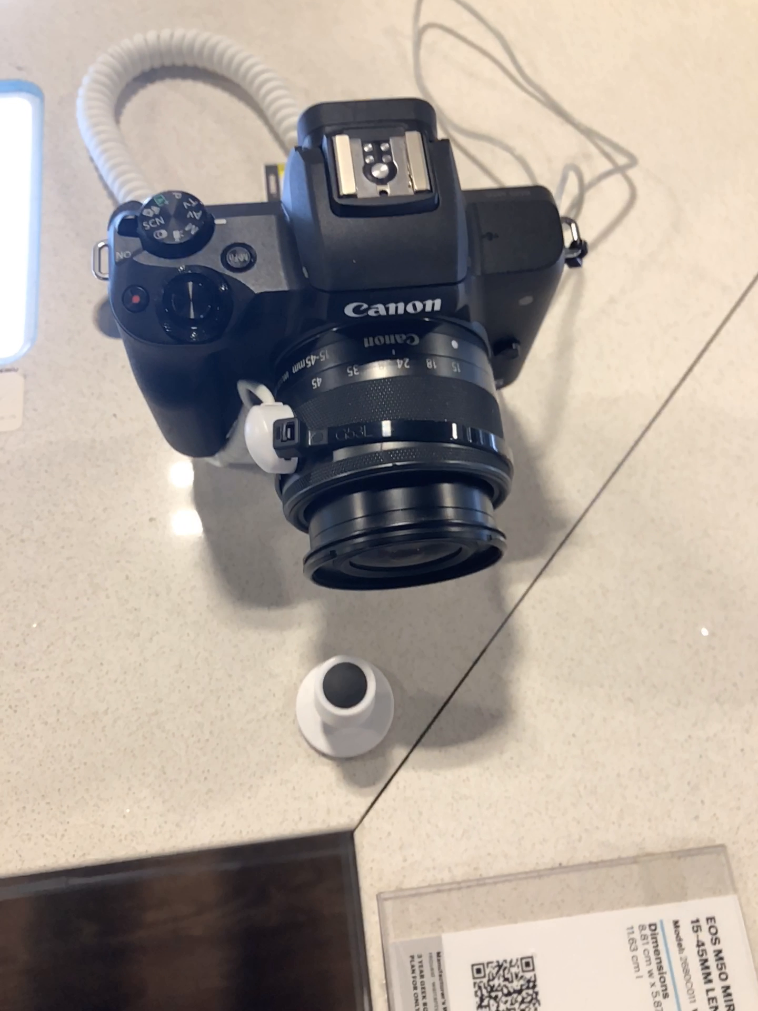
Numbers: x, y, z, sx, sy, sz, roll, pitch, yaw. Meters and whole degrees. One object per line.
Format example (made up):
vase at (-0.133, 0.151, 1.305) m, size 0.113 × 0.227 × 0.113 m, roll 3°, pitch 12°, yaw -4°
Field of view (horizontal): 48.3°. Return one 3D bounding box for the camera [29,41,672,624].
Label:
camera at (-0.013, -0.044, 0.230) m, size 0.130 × 0.080 × 0.120 m, roll -6°, pitch 68°, yaw -5°
